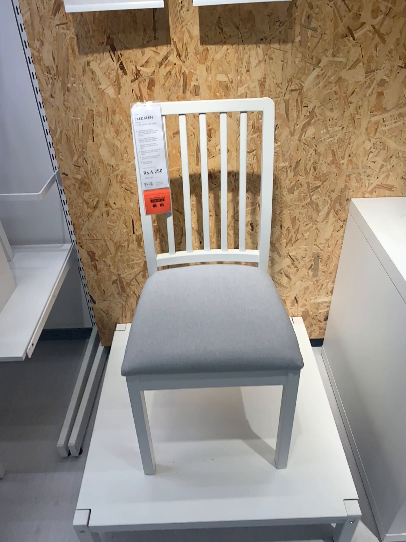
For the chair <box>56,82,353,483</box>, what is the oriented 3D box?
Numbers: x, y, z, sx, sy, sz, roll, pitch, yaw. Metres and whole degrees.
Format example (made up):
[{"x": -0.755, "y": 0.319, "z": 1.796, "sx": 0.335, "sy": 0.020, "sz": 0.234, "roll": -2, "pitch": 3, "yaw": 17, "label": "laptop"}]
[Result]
[{"x": 0.011, "y": 0.055, "z": 1.066, "sx": 0.430, "sy": 0.886, "sz": 0.512, "roll": -2, "pitch": 36, "yaw": 0, "label": "chair"}]
